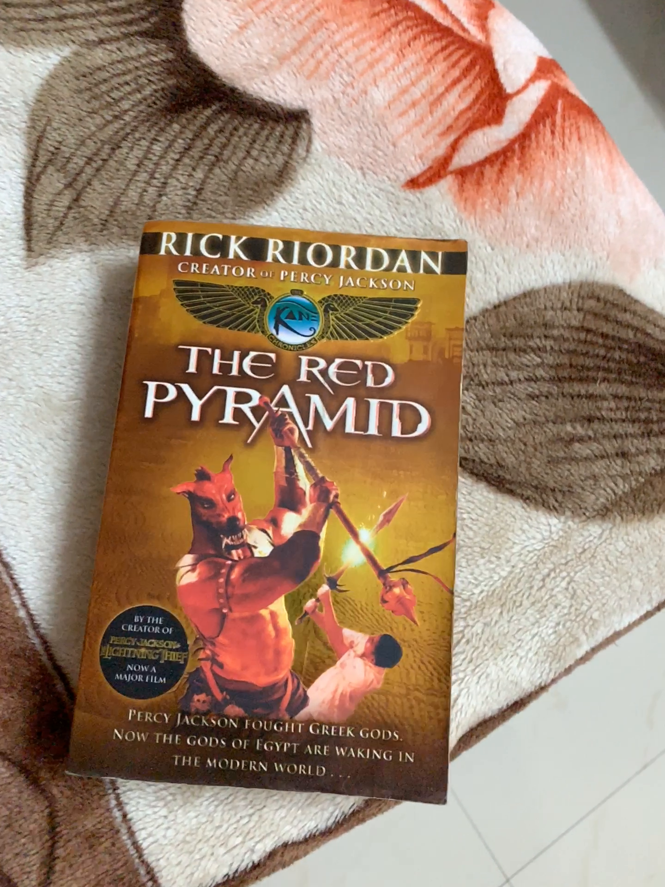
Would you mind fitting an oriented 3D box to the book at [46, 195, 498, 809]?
[{"bbox_3d":[-0.014,0.017,0.278,0.150,0.040,0.220,5,77,-3],"label":"book"}]
